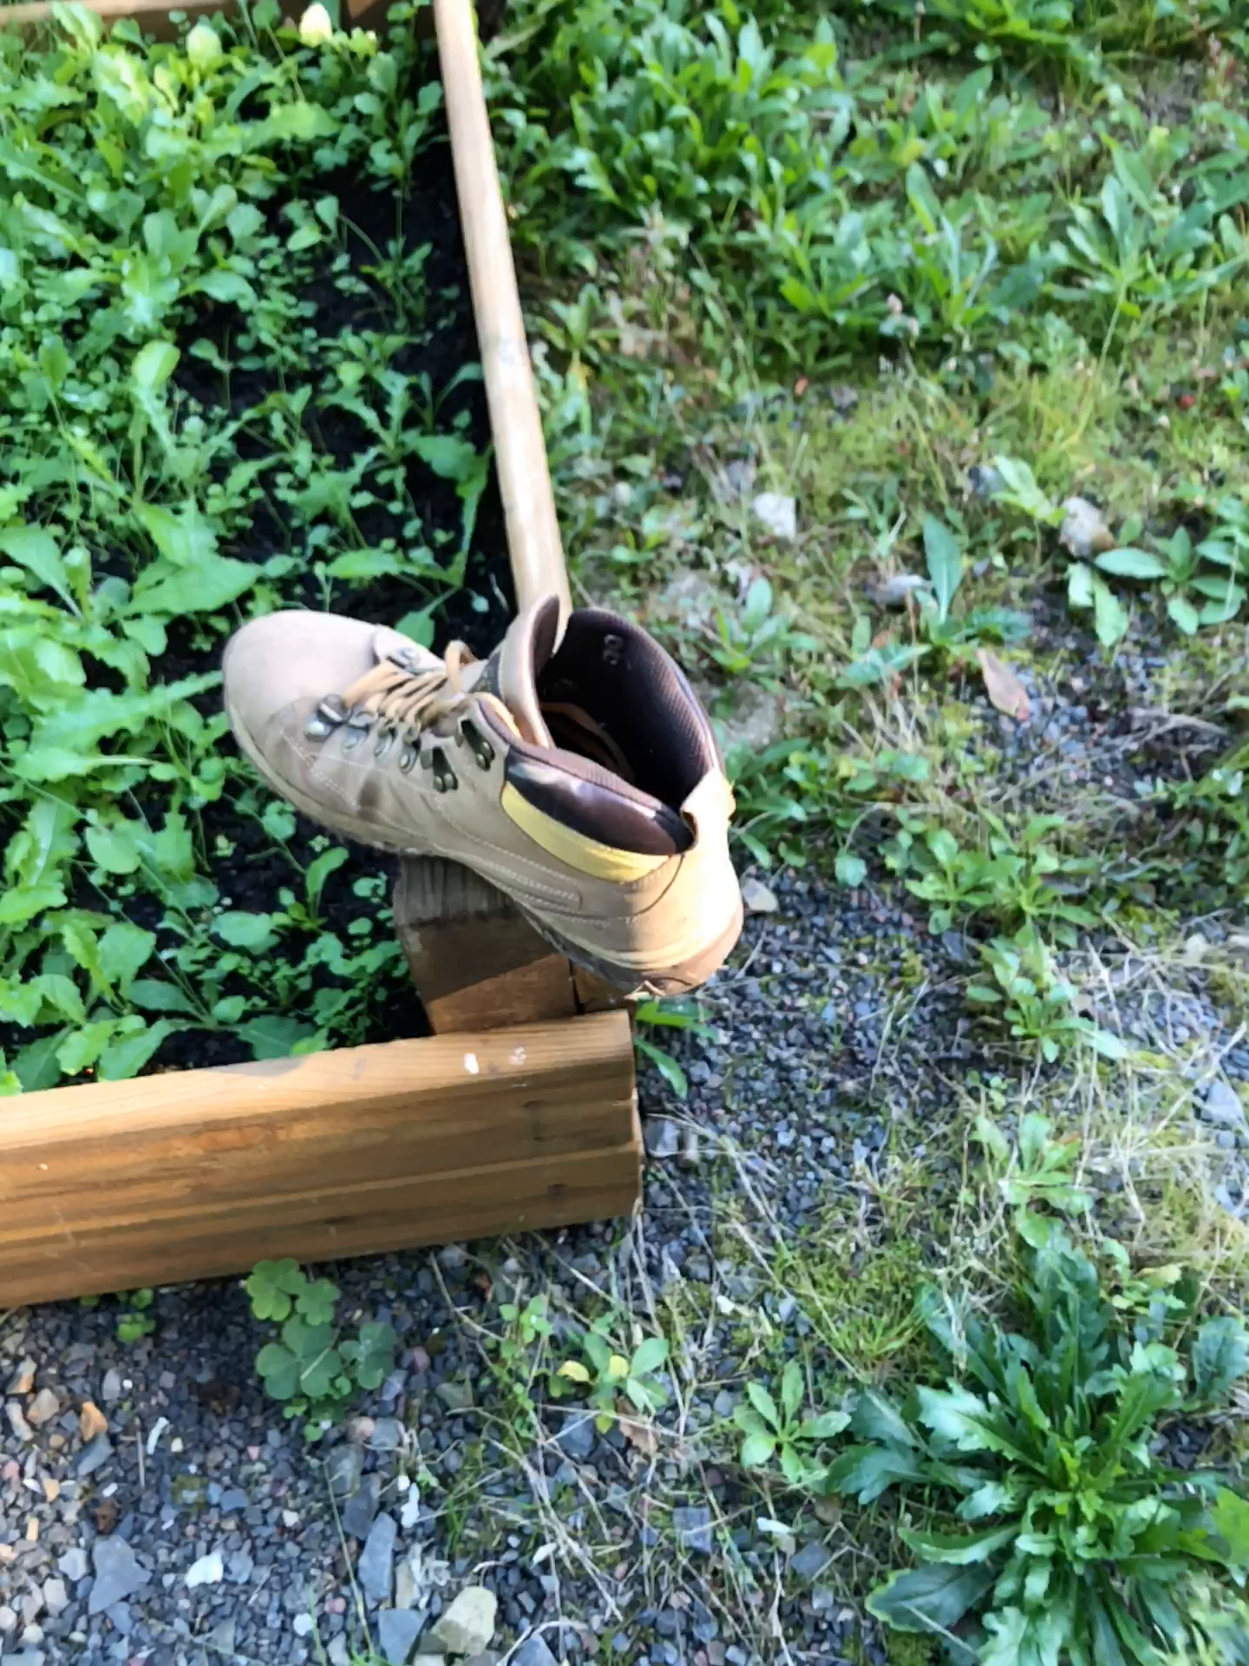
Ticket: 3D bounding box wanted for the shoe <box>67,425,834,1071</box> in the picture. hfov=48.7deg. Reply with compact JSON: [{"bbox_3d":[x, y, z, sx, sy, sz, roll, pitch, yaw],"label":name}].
[{"bbox_3d":[-0.070,-0.034,0.586,0.280,0.149,0.100,27,62,14],"label":"shoe"}]
